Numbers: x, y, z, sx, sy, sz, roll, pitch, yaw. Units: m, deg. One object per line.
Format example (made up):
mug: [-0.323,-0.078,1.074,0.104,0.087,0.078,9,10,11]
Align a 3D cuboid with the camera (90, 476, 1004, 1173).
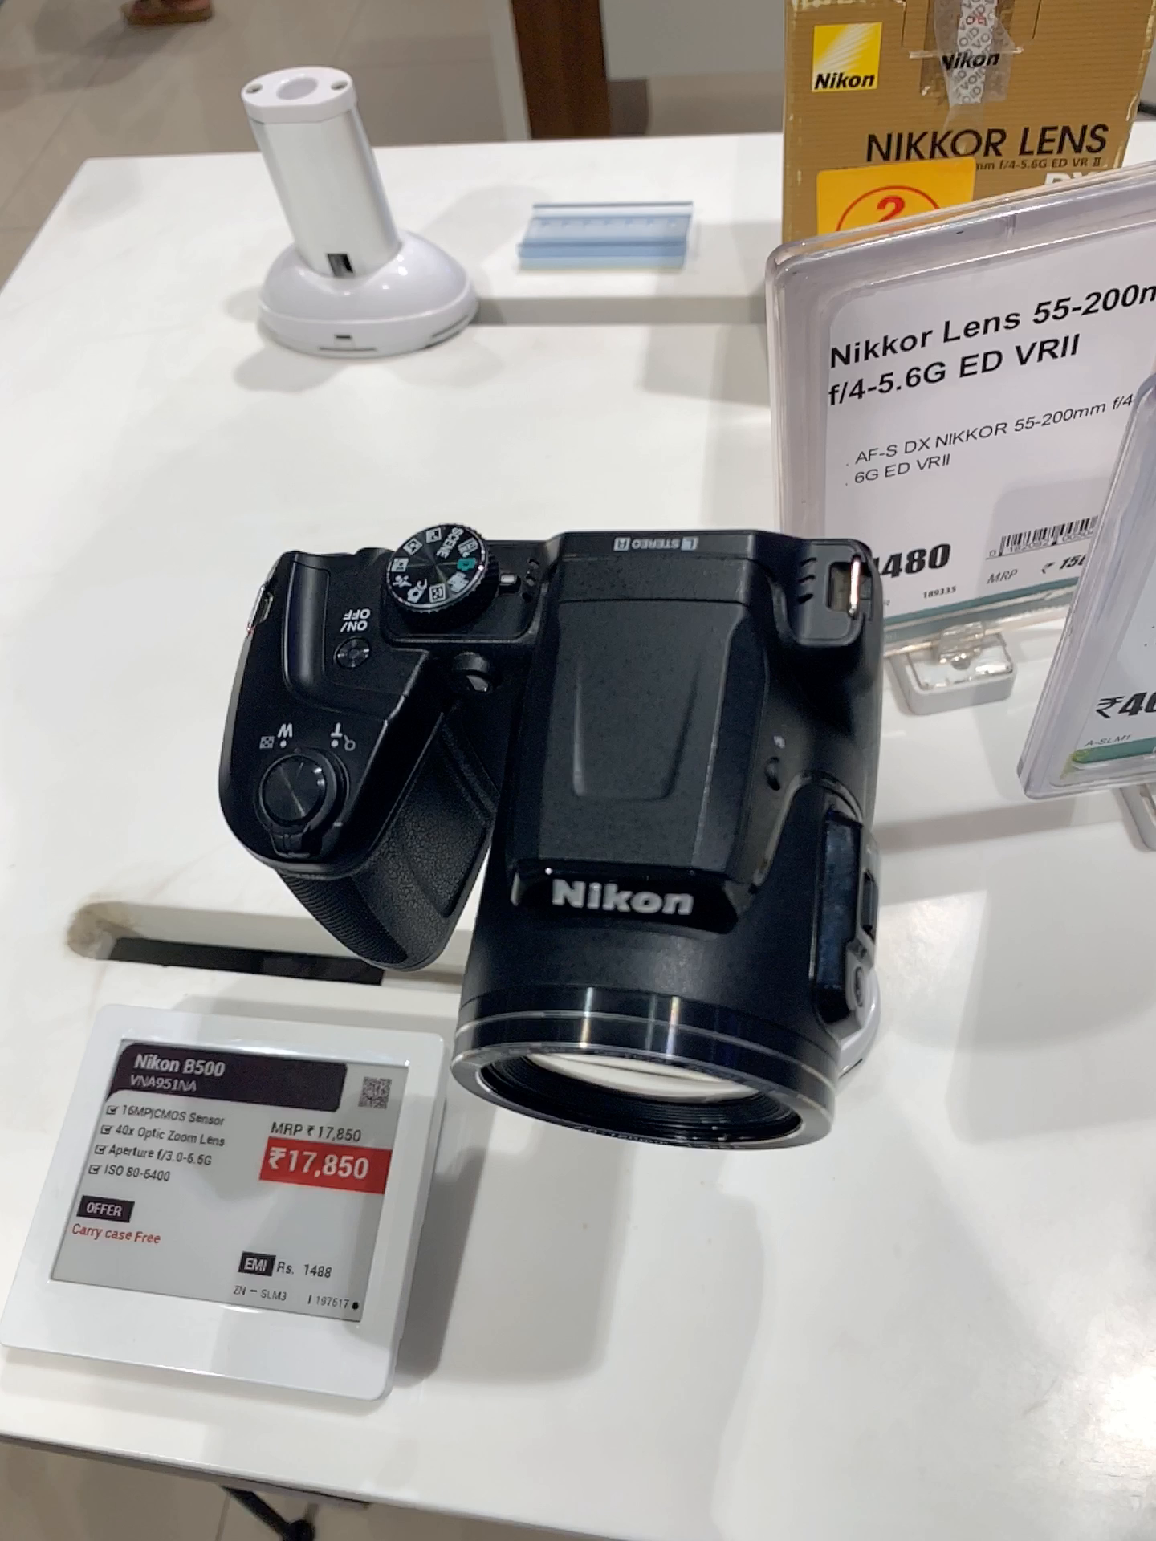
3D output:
camera: [0.003,0.009,0.193,0.113,0.070,0.084,3,63,11]
